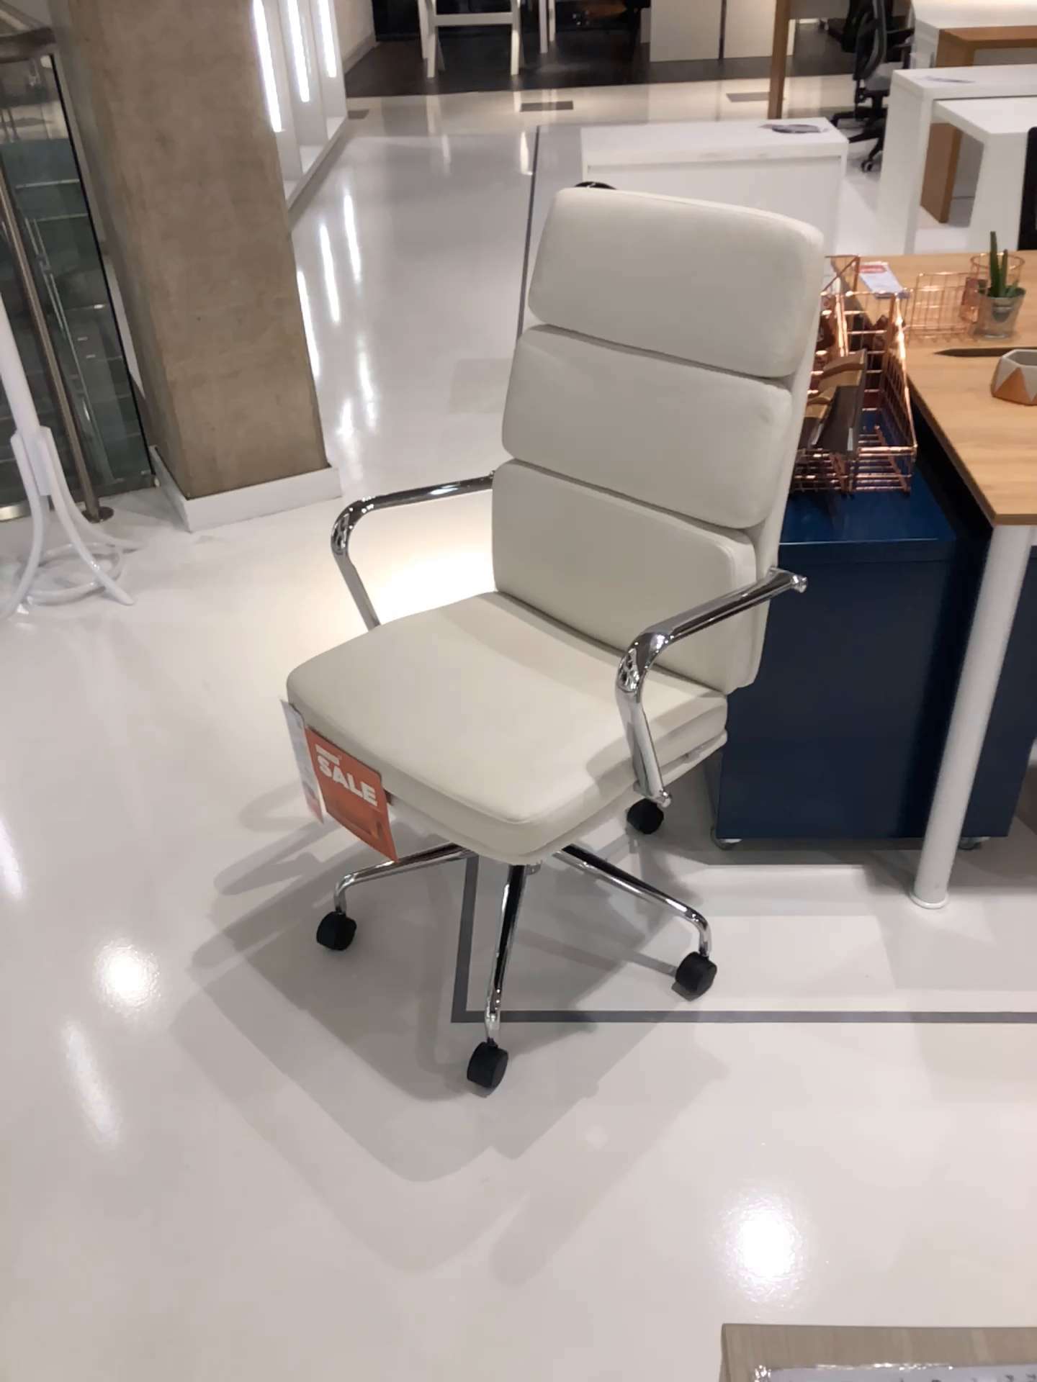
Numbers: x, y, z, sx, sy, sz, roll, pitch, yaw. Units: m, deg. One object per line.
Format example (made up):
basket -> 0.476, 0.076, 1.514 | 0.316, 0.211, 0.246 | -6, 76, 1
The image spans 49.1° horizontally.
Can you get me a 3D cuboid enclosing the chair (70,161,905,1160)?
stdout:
chair -> -0.014, -0.083, 1.548 | 0.663, 1.012, 0.653 | 27, 45, 36
